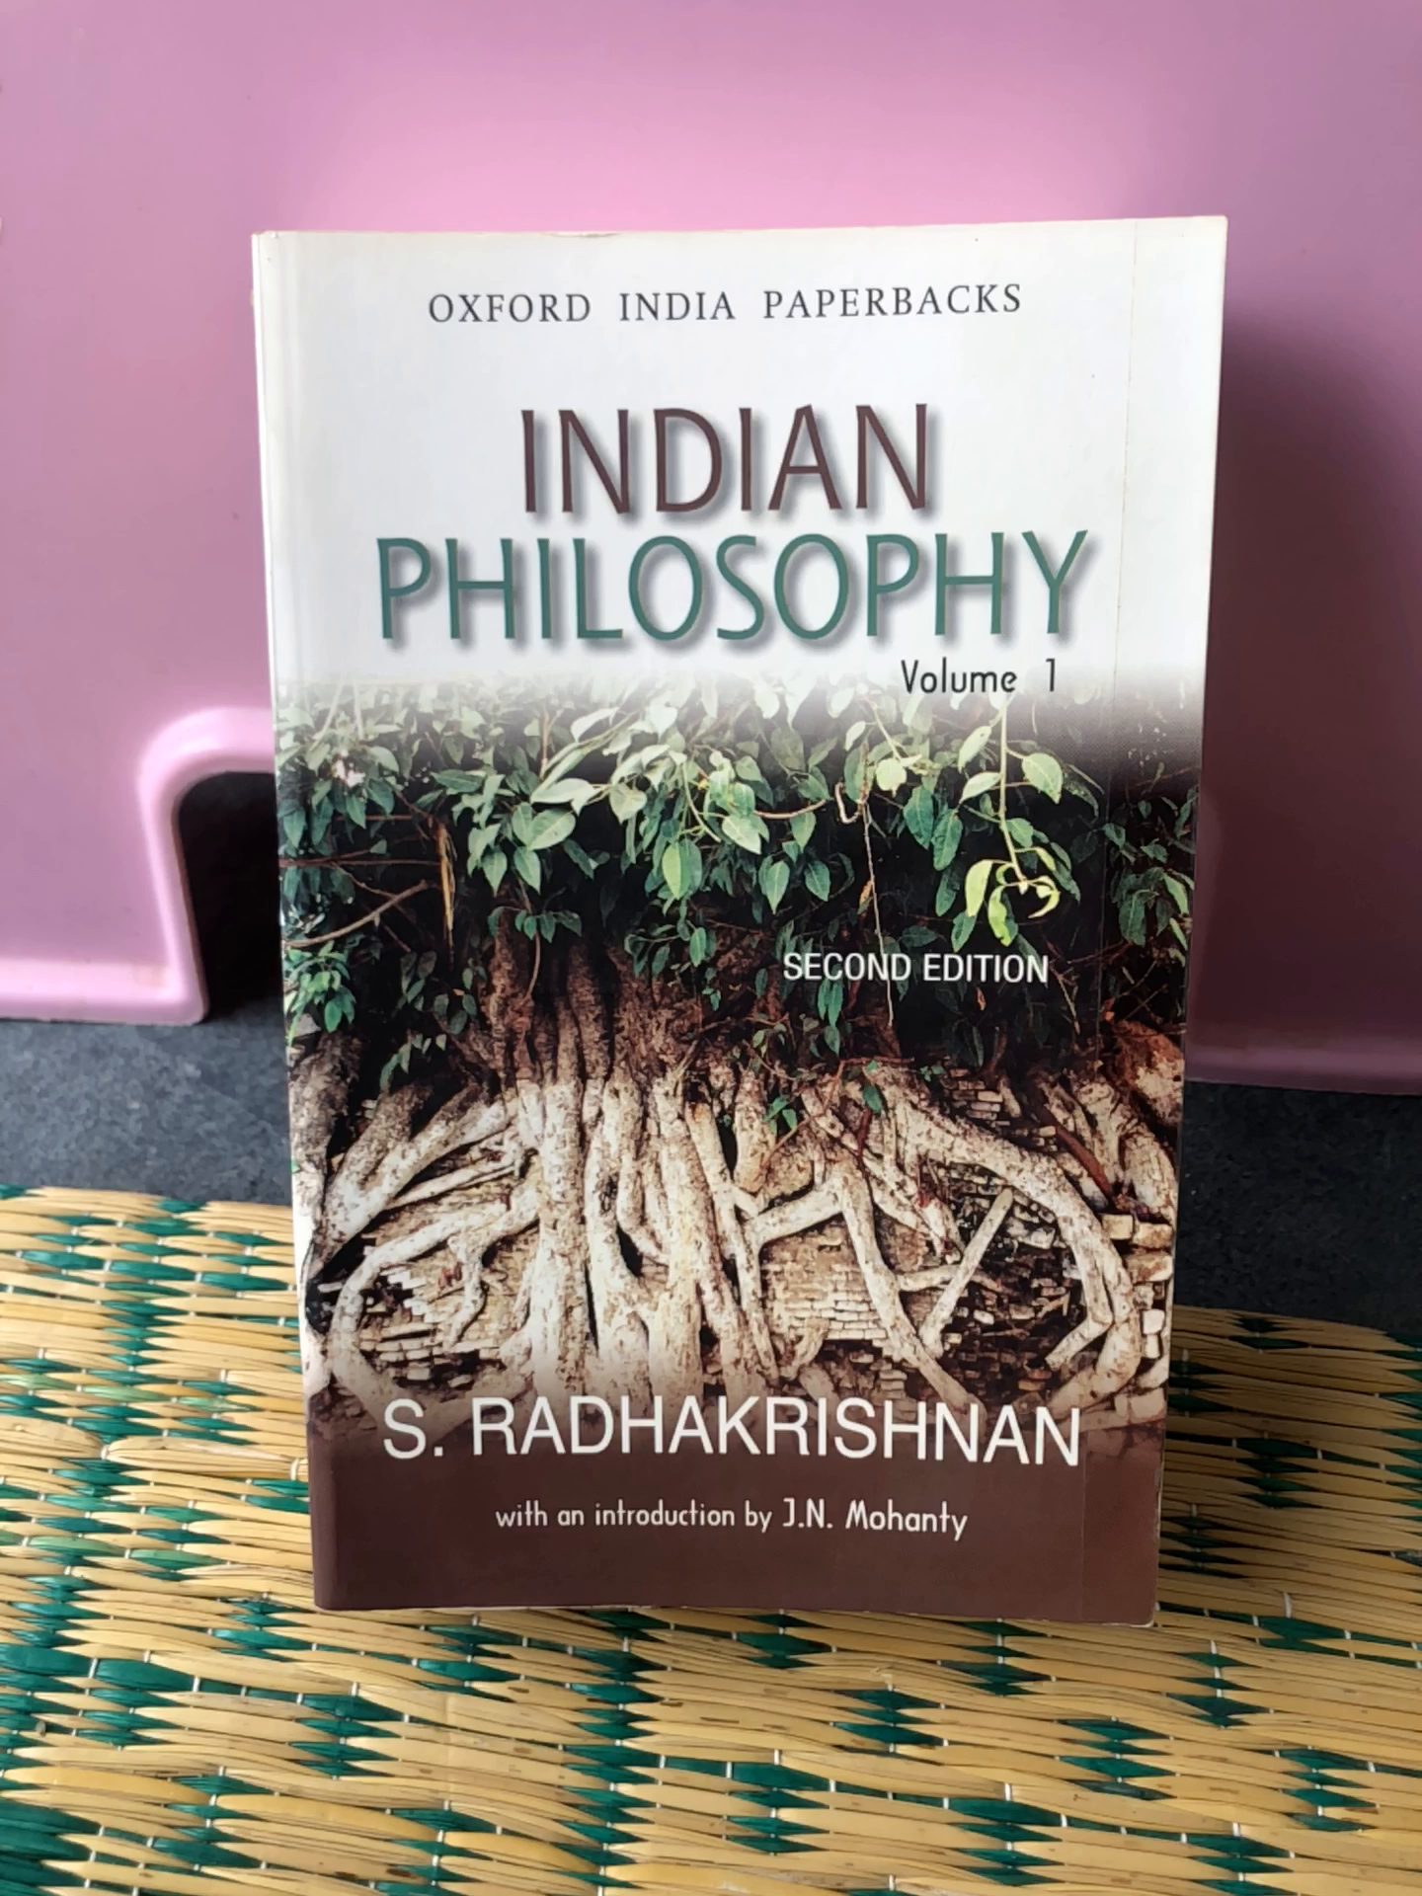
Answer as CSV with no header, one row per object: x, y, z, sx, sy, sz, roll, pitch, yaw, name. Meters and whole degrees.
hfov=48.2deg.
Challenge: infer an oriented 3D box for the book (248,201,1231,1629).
0.003,-0.004,0.270,0.140,0.210,0.070,1,5,0,book
